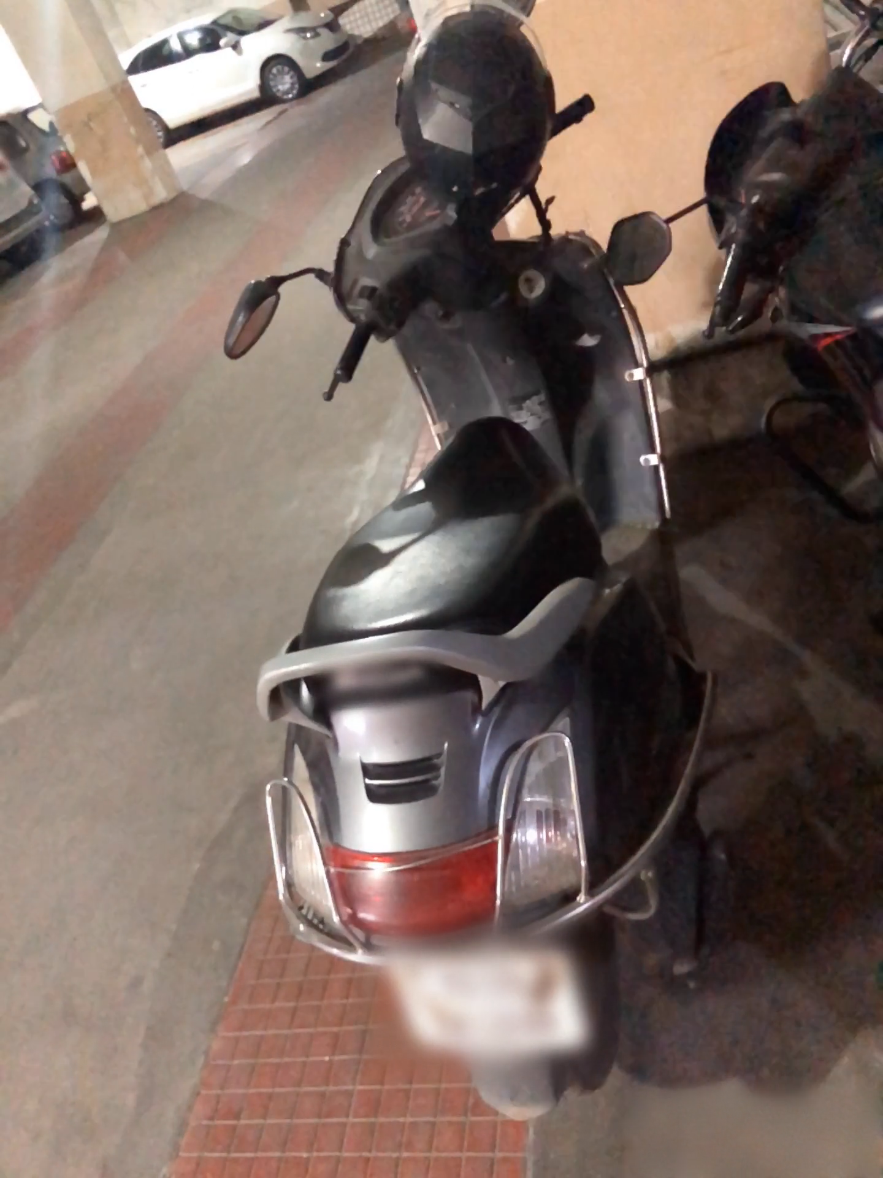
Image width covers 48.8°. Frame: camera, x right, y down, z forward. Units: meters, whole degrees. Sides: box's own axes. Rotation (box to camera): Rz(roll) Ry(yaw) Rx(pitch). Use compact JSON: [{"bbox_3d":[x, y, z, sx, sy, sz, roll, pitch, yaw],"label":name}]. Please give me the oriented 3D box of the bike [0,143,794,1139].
[{"bbox_3d":[0.025,-0.053,1.668,0.595,0.988,1.501,-15,31,14],"label":"bike"}]
